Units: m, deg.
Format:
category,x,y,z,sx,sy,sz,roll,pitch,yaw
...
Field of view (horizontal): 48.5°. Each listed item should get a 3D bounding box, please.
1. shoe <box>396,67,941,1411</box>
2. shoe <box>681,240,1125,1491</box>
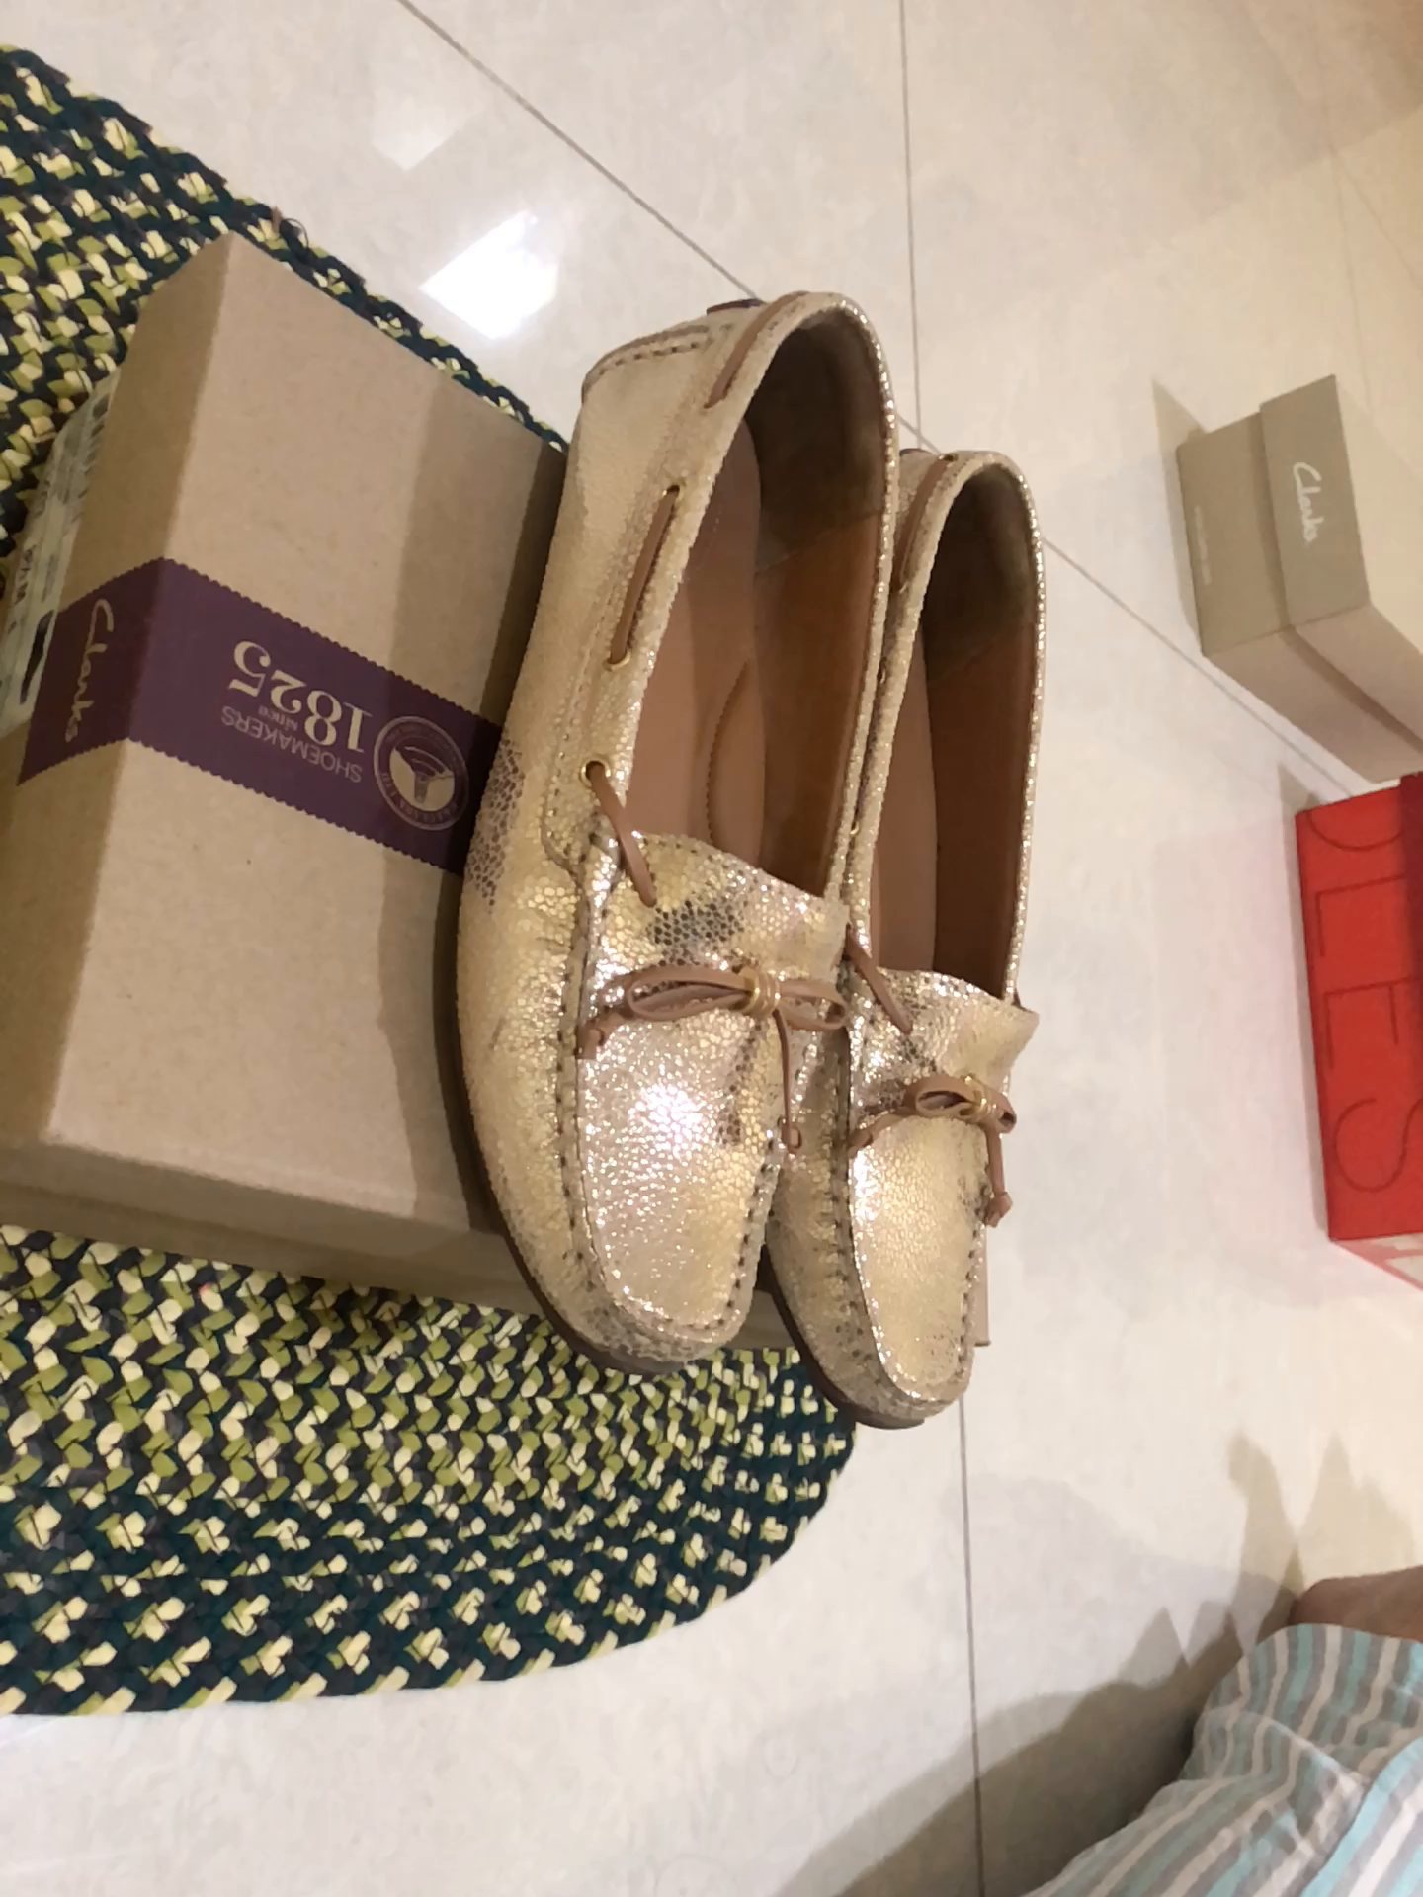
category,x,y,z,sx,sy,sz,roll,pitch,yaw
shoe,-0.002,-0.046,0.353,0.091,0.060,0.280,23,61,-44
shoe,0.050,-0.023,0.414,0.091,0.060,0.310,23,61,-44
